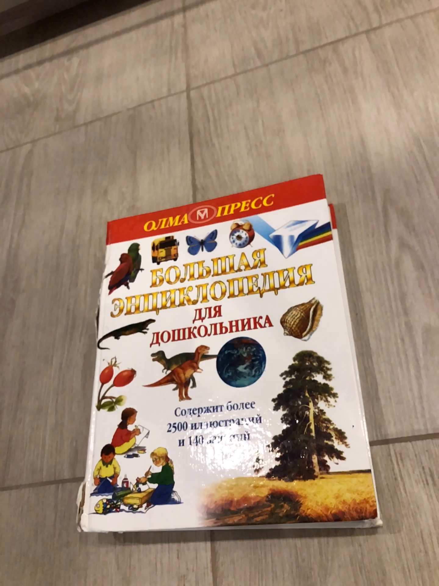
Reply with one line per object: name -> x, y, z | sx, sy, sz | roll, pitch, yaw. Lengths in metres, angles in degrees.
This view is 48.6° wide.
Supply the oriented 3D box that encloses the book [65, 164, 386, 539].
book -> 0.000, 0.044, 0.403 | 0.216, 0.060, 0.281 | -9, 62, 15
